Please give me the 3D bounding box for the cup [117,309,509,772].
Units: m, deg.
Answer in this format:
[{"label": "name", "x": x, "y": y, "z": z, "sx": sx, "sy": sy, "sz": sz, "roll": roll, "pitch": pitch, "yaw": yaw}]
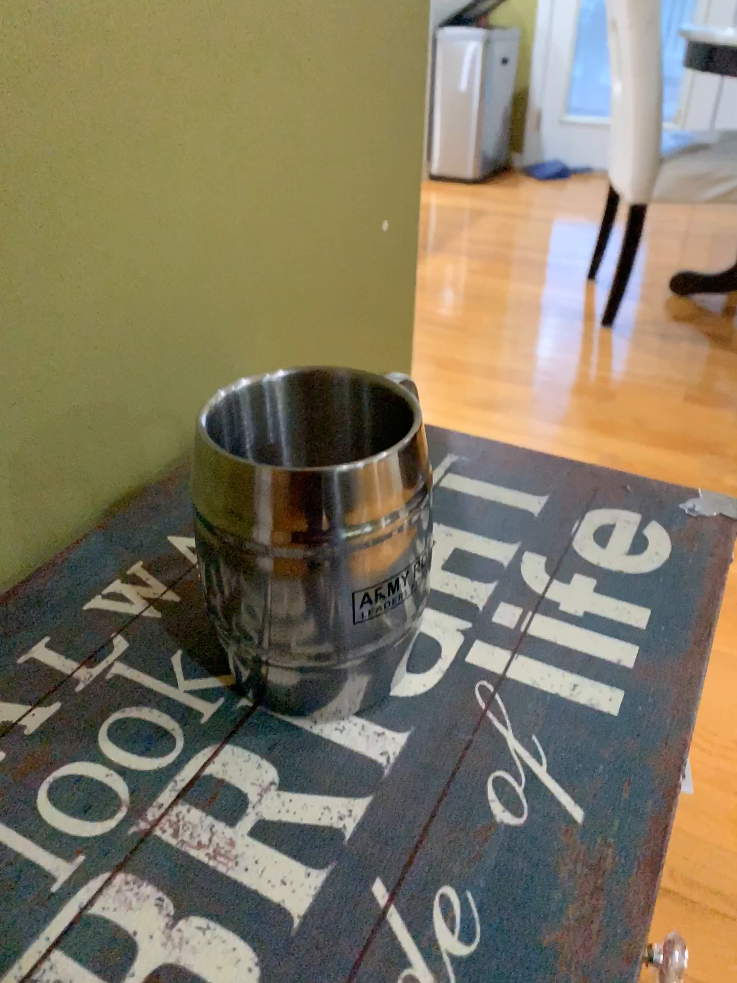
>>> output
[{"label": "cup", "x": -0.012, "y": 0.009, "z": 0.306, "sx": 0.089, "sy": 0.113, "sz": 0.129, "roll": 16, "pitch": 36, "yaw": 22}]
